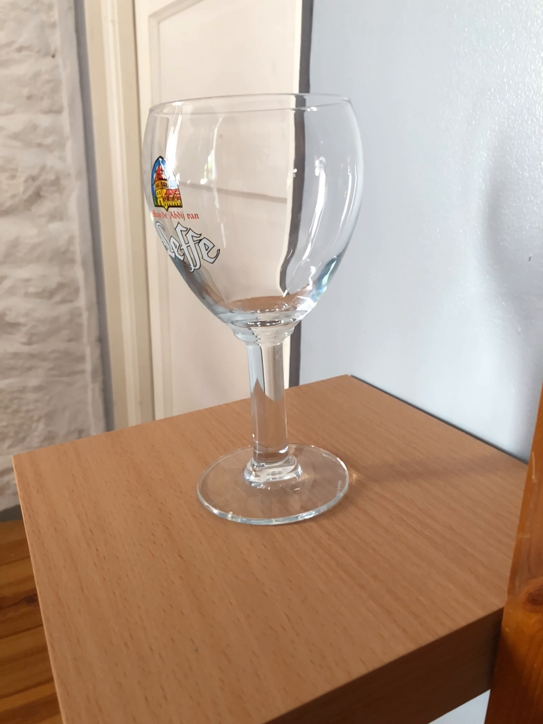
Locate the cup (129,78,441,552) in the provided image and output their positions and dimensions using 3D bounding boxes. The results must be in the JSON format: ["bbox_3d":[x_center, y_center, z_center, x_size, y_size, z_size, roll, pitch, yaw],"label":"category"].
[{"bbox_3d":[0.003,-0.028,0.294,0.100,0.185,0.095,1,18,0],"label":"cup"}]
